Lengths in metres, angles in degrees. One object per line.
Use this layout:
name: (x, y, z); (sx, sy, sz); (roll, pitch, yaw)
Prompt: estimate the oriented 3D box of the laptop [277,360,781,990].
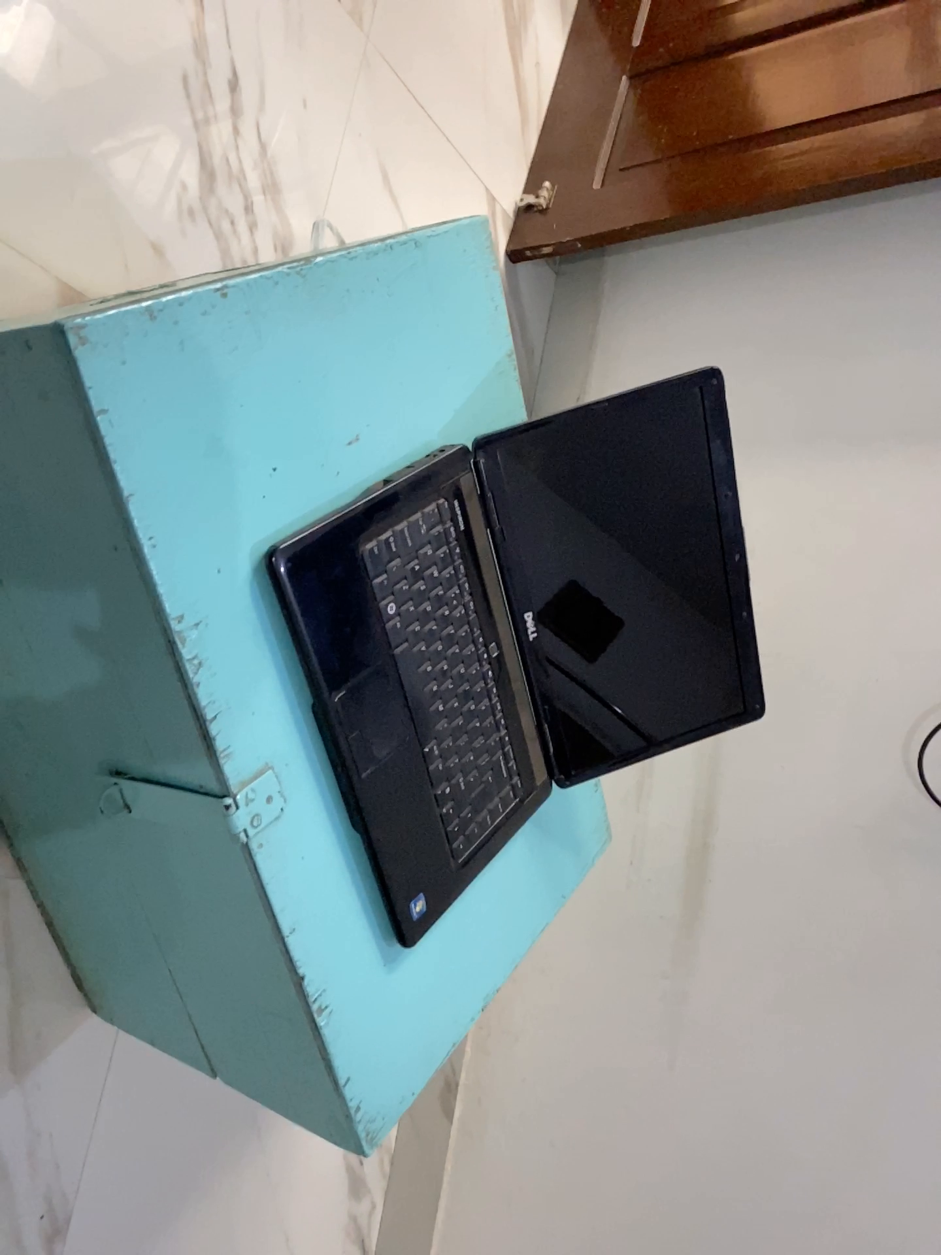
laptop: (0.096, 0.015, 0.830); (0.414, 0.162, 0.363); (-39, 124, -43)
